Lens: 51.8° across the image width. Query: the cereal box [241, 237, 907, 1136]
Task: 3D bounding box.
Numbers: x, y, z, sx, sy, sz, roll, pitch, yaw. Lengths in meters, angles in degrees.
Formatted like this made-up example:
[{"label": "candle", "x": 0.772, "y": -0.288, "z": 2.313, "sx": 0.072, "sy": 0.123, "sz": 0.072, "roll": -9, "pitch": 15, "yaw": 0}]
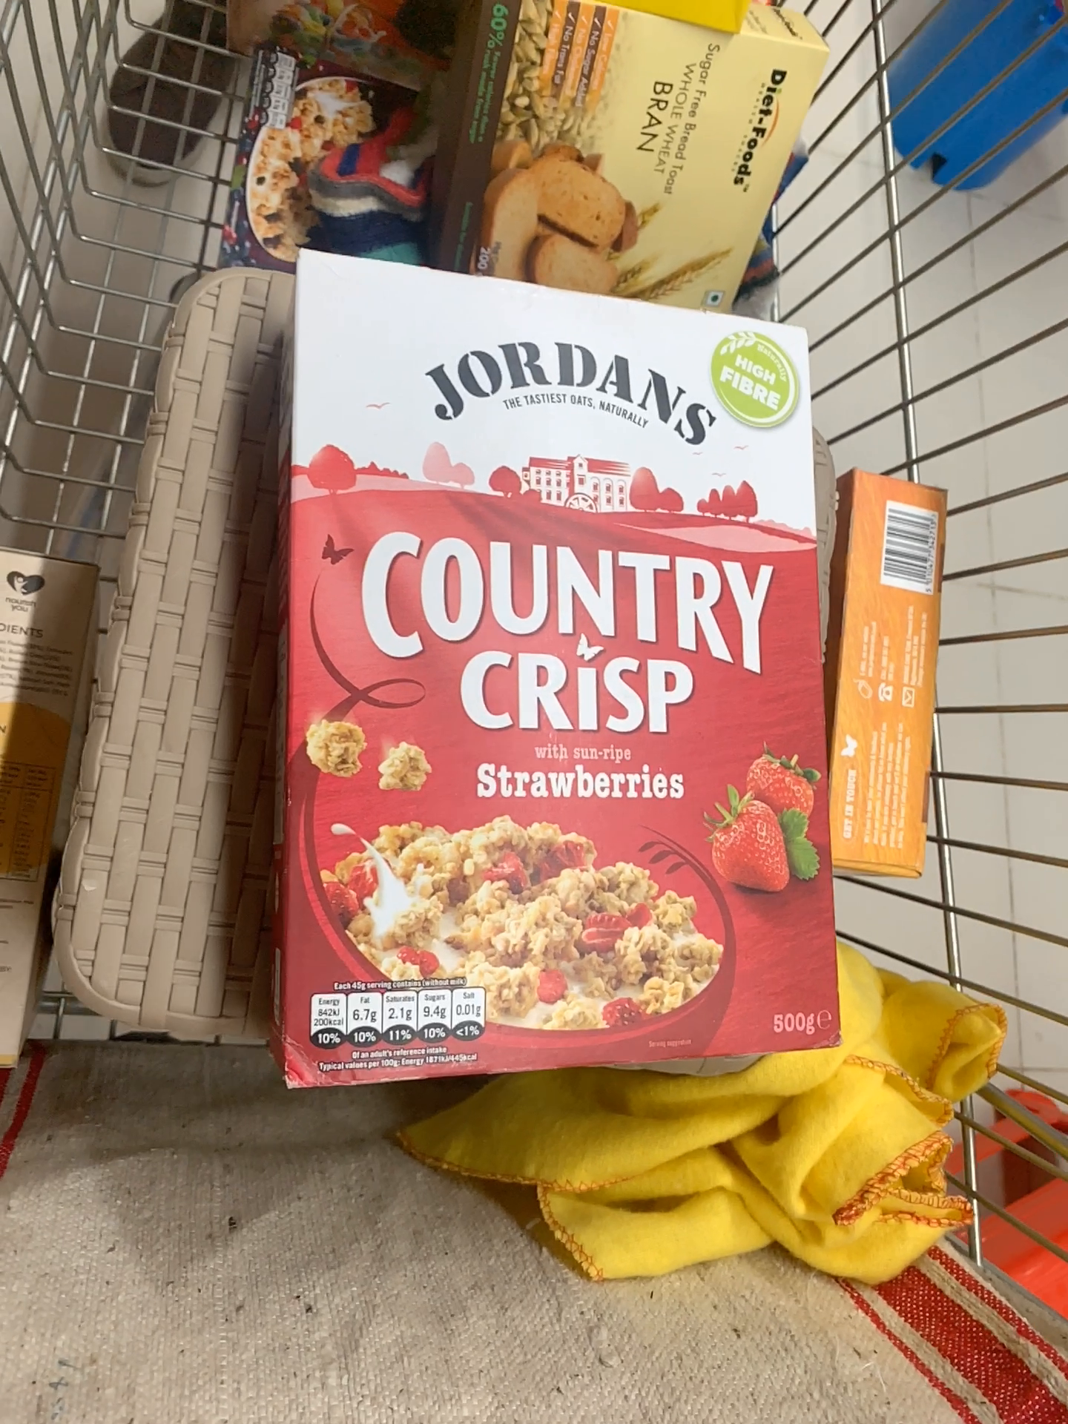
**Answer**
[{"label": "cereal box", "x": 0.008, "y": -0.006, "z": 0.337, "sx": 0.180, "sy": 0.070, "sz": 0.230, "roll": 2, "pitch": 80, "yaw": -18}]
